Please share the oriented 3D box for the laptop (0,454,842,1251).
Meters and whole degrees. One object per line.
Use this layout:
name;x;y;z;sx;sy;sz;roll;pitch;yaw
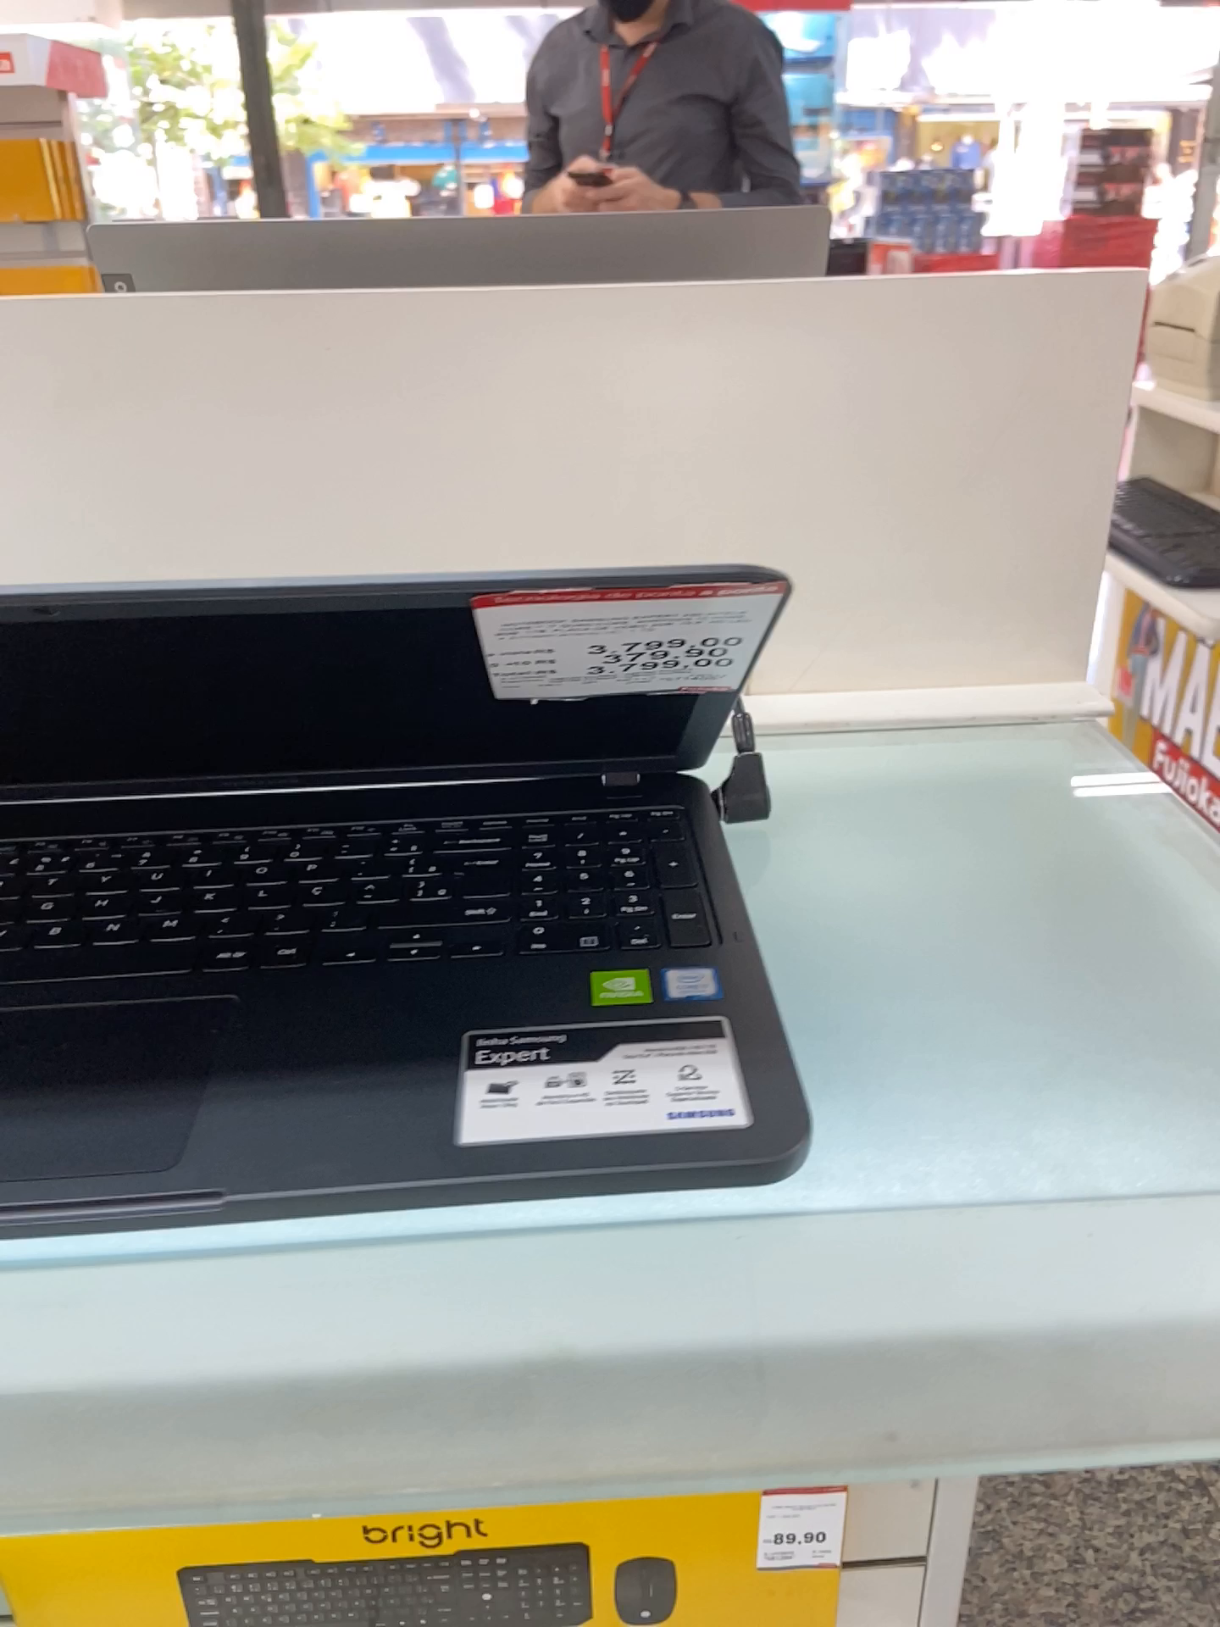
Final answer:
laptop;-0.143;-0.015;0.403;0.376;0.140;0.240;-3;26;-3
